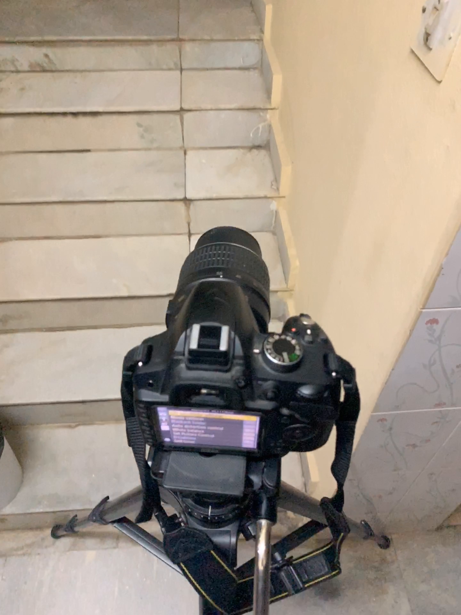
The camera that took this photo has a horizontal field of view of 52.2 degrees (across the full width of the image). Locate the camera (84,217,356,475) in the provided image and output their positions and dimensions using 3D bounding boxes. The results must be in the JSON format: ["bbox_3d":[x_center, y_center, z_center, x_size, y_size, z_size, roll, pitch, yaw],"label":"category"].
[{"bbox_3d":[-0.002,0.022,0.307,0.134,0.090,0.131,4,48,2],"label":"camera"}]
